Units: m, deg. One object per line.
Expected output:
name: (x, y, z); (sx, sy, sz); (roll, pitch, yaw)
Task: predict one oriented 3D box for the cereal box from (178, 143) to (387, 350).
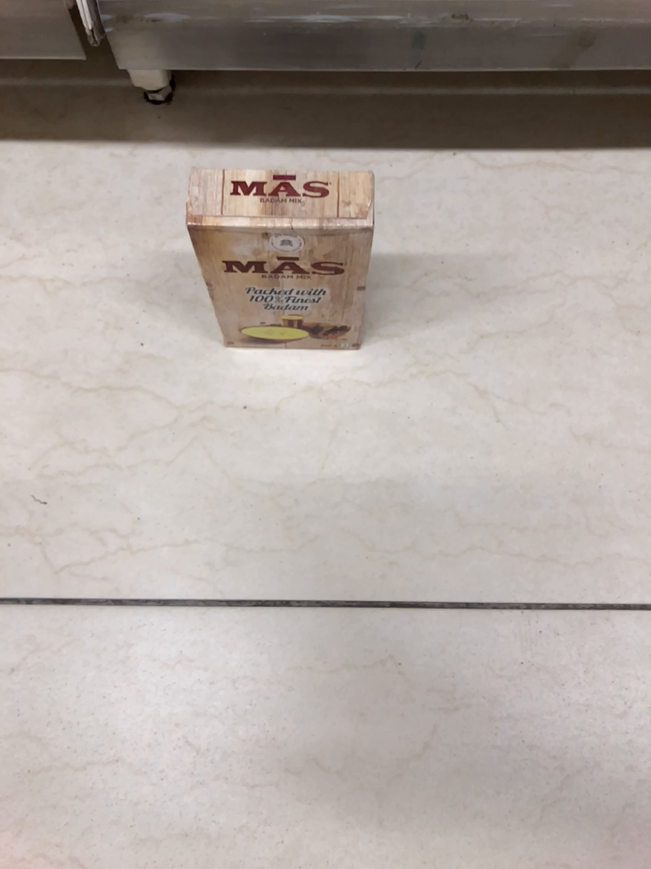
cereal box: (-0.019, -0.091, 0.380); (0.090, 0.130, 0.040); (1, 72, 0)
